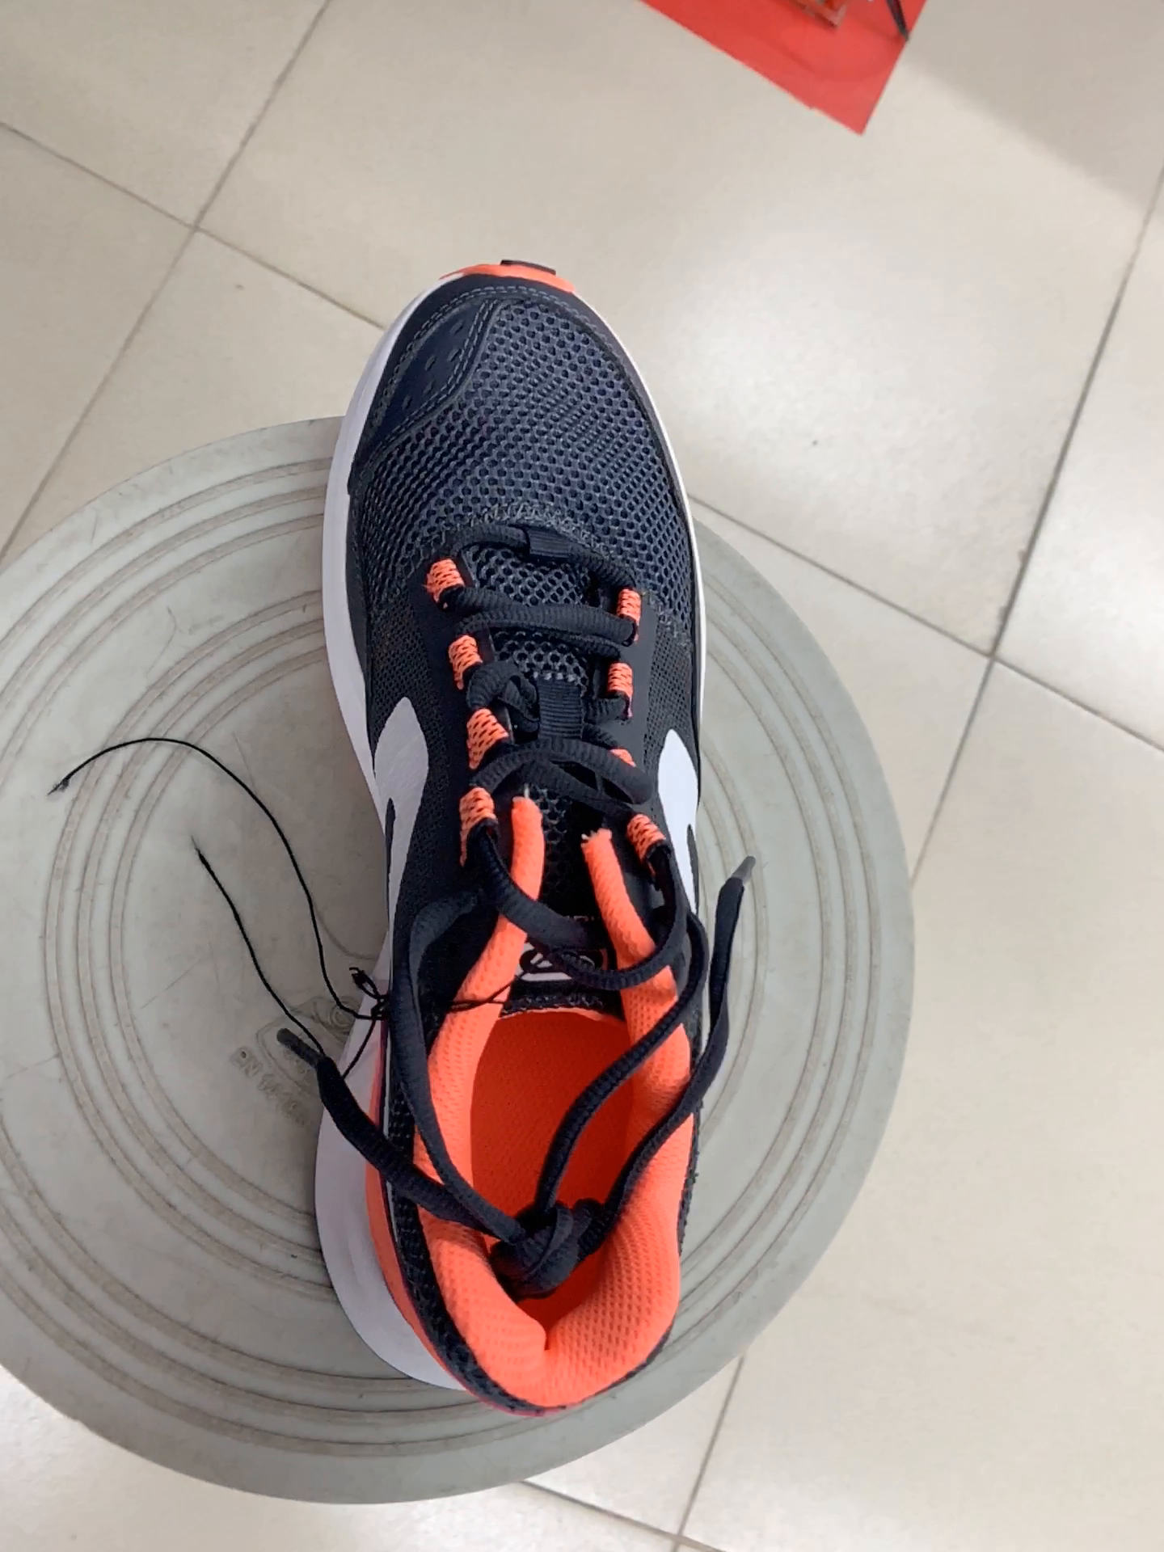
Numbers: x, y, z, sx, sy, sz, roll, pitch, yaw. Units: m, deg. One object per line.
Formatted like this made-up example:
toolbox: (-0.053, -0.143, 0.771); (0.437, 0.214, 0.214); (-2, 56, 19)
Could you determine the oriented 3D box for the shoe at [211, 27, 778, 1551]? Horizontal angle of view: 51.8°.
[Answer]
shoe: (-0.024, 0.001, 0.294); (0.100, 0.120, 0.290); (4, 81, -14)
